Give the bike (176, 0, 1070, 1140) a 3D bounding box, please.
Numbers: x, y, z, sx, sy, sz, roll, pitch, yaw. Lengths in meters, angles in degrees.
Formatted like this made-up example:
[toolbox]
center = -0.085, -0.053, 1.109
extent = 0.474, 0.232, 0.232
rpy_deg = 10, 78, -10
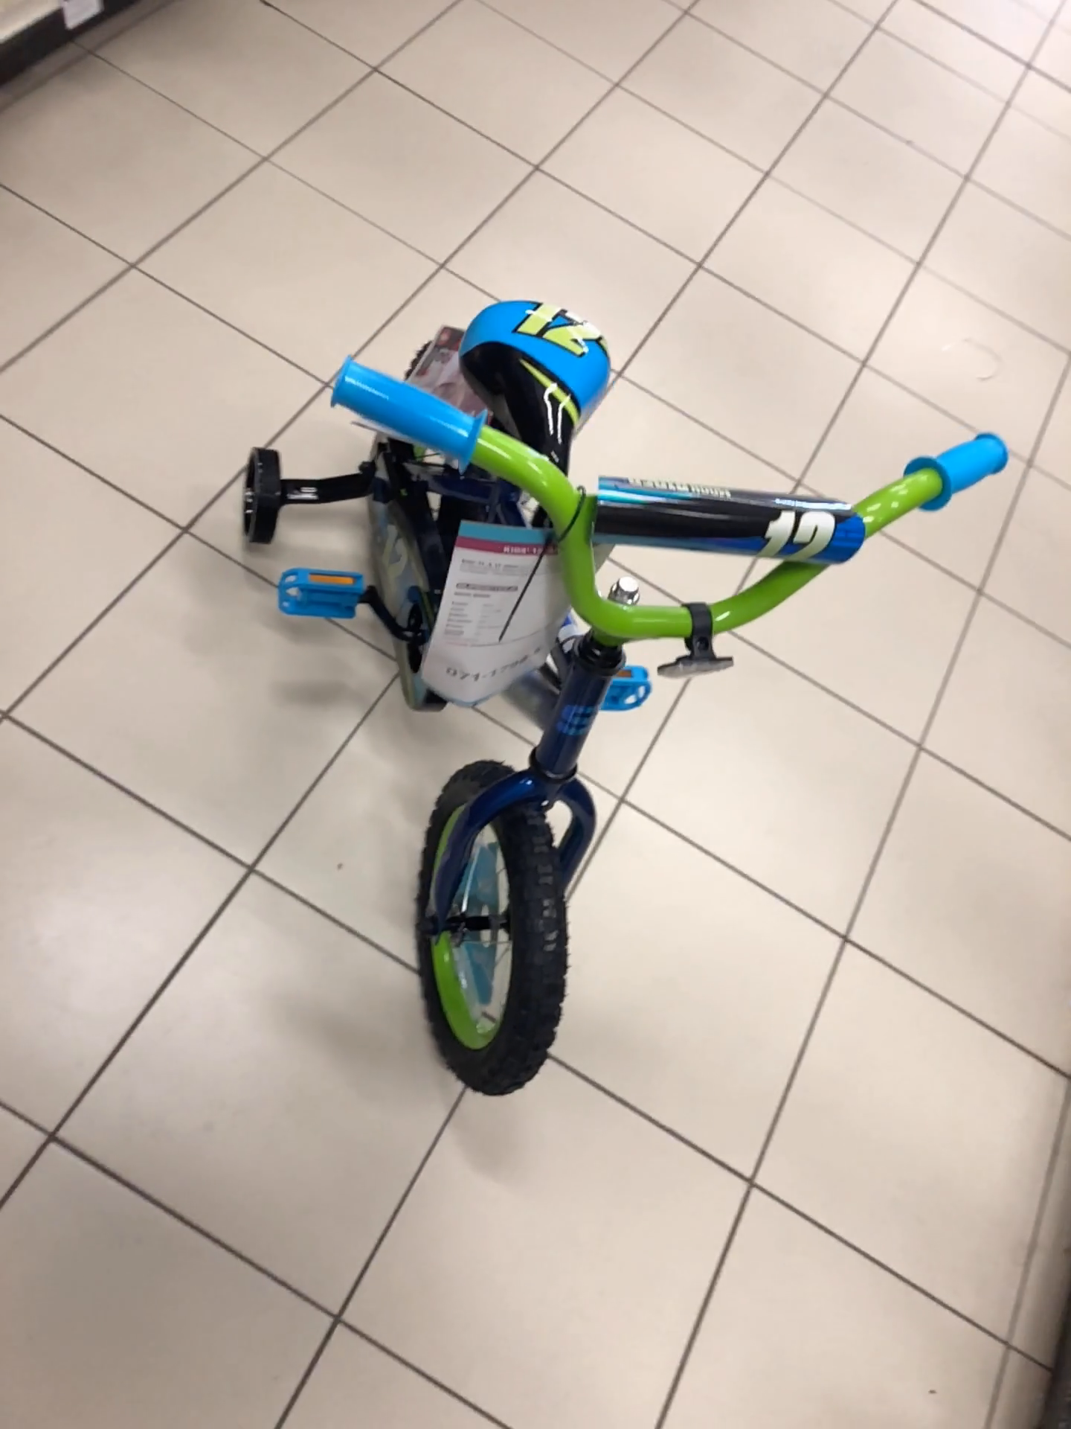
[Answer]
[bike]
center = -0.019, -0.135, 1.023
extent = 0.548, 0.676, 0.797
rpy_deg = 0, 63, -17
